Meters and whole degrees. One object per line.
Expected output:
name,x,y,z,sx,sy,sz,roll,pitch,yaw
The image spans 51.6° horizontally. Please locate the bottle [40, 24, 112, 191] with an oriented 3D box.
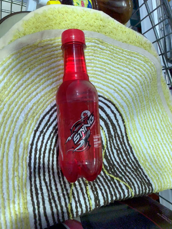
bottle,-0.013,-0.009,0.211,0.060,0.040,0.170,-5,89,-24
